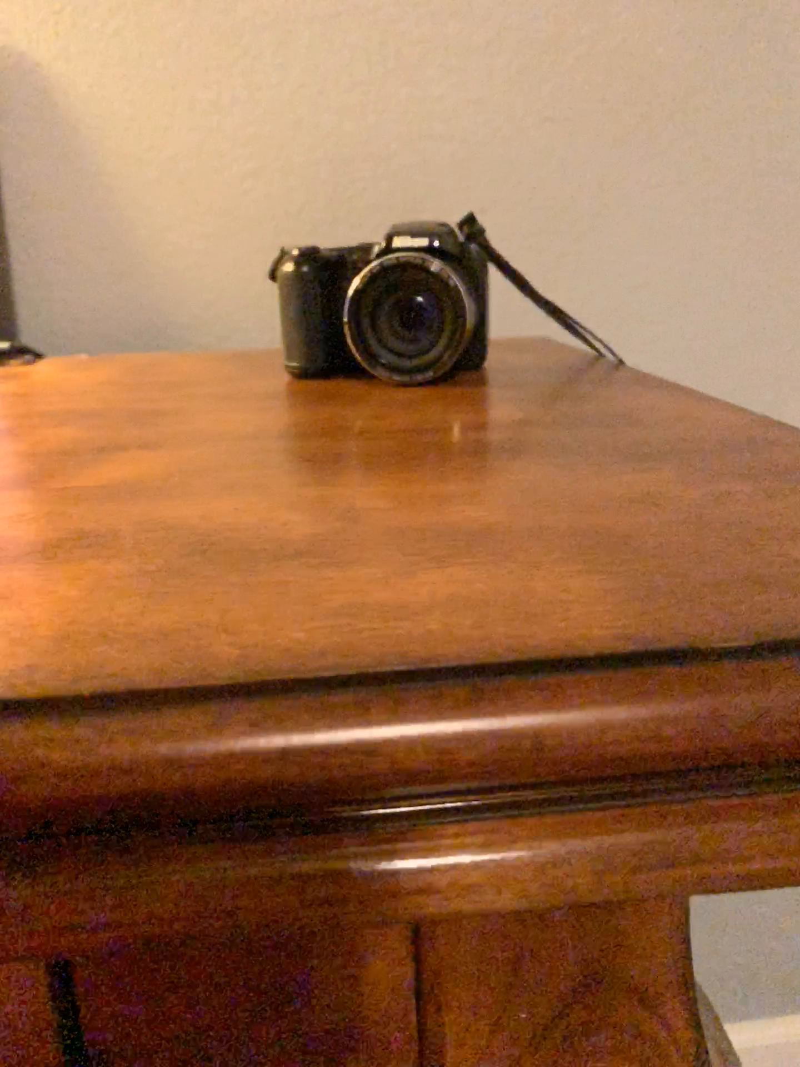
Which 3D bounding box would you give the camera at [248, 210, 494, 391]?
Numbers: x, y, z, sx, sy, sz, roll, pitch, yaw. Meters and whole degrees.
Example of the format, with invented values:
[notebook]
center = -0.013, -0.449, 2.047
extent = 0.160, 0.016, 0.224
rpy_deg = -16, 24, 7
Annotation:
[camera]
center = -0.007, -0.130, 0.466
extent = 0.110, 0.081, 0.123
rpy_deg = 1, 18, 10
